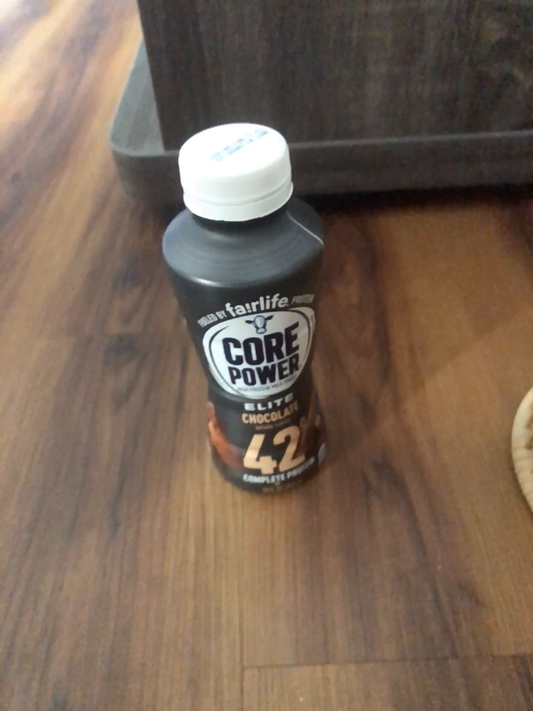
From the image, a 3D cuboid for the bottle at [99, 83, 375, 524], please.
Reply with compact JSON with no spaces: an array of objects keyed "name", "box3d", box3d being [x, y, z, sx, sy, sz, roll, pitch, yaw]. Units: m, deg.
[{"name":"bottle","box3d":[-0.002,-0.013,0.276,0.070,0.183,0.070,-3,45,3]}]
